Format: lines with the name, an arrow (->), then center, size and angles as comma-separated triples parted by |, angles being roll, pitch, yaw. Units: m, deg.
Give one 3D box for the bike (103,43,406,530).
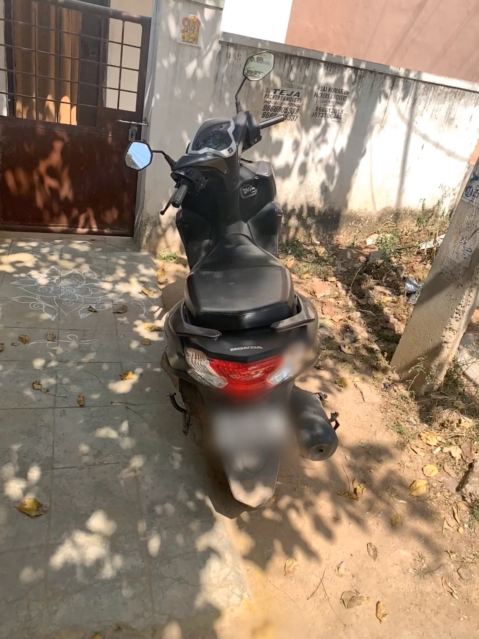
bike -> -0.191, -0.279, 1.925 | 0.606, 1.176, 1.516 | 3, 31, -16
